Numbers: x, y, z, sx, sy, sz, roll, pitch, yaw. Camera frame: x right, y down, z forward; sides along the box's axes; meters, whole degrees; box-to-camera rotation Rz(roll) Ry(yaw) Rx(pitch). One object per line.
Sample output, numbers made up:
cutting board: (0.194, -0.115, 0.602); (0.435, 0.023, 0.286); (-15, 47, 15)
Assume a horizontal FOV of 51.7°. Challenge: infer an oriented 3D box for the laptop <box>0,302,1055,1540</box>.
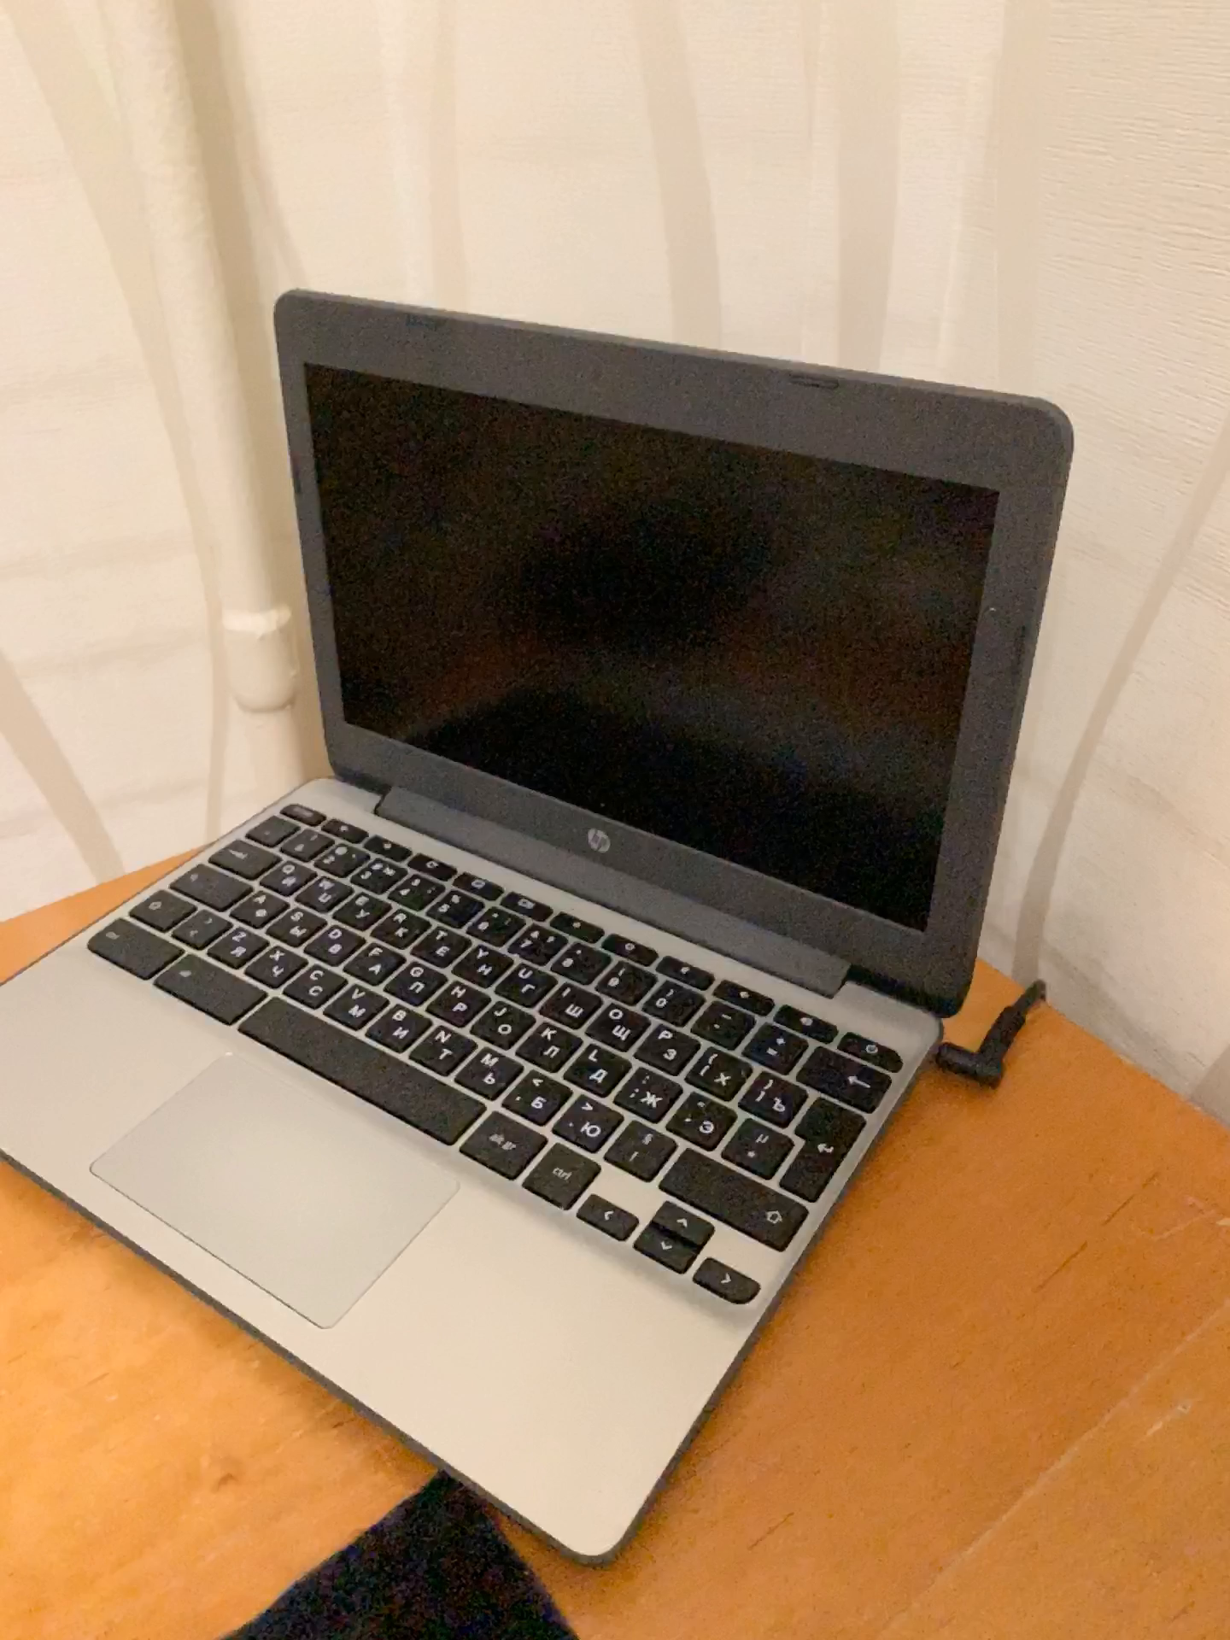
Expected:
laptop: (-0.061, -0.010, 0.357); (0.271, 0.187, 0.207); (20, 40, 28)
